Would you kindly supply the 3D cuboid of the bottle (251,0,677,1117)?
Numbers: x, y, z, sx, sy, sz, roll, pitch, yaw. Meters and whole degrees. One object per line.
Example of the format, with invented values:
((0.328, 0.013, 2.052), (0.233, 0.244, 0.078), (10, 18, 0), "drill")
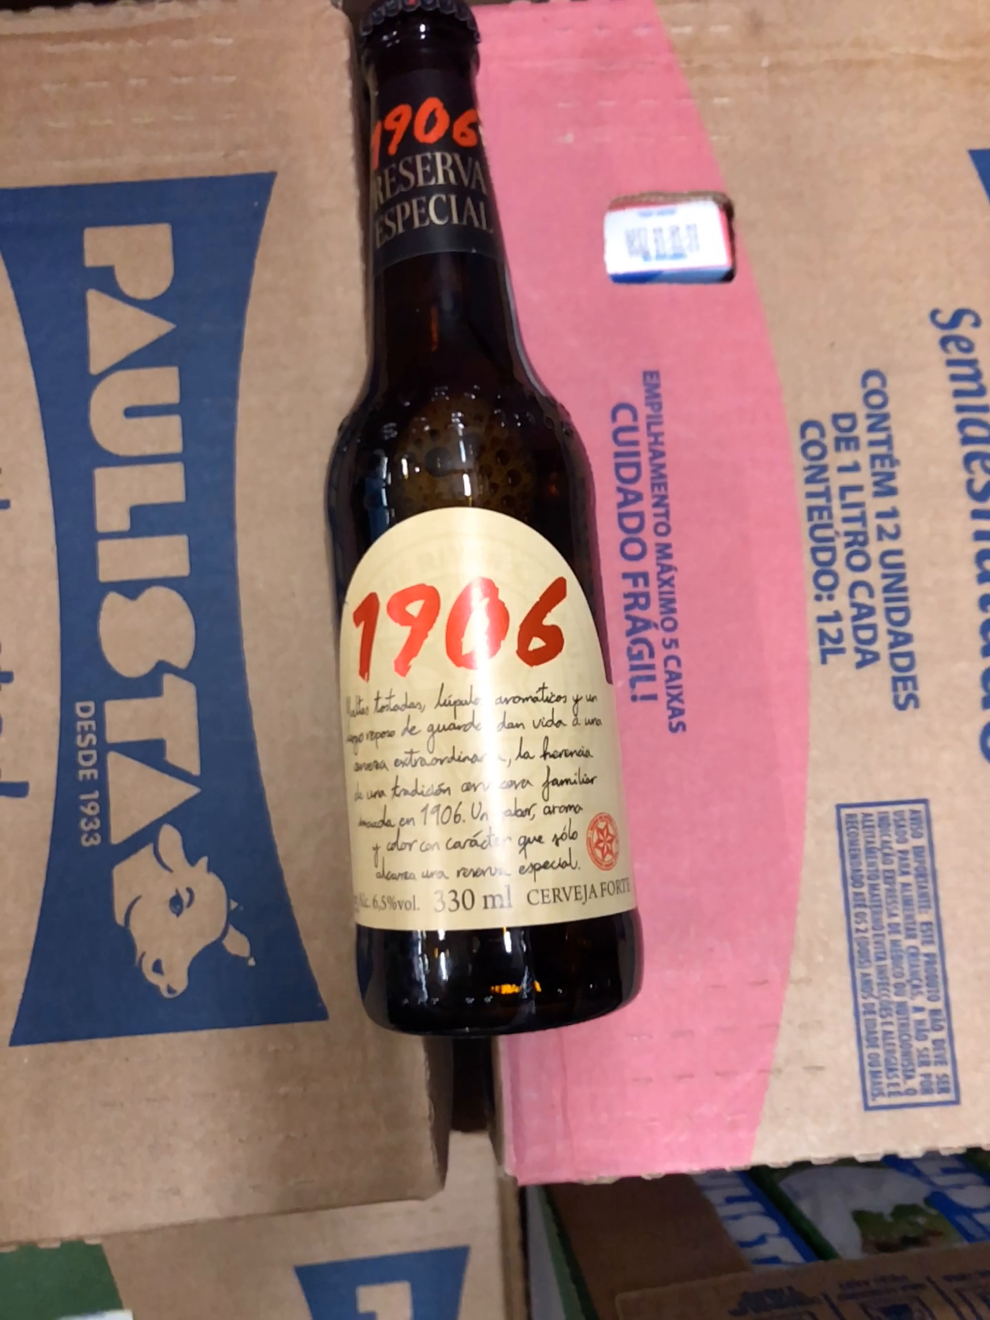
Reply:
((-0.010, -0.045, 0.260), (0.070, 0.060, 0.270), (-4, 85, -4), "bottle")
